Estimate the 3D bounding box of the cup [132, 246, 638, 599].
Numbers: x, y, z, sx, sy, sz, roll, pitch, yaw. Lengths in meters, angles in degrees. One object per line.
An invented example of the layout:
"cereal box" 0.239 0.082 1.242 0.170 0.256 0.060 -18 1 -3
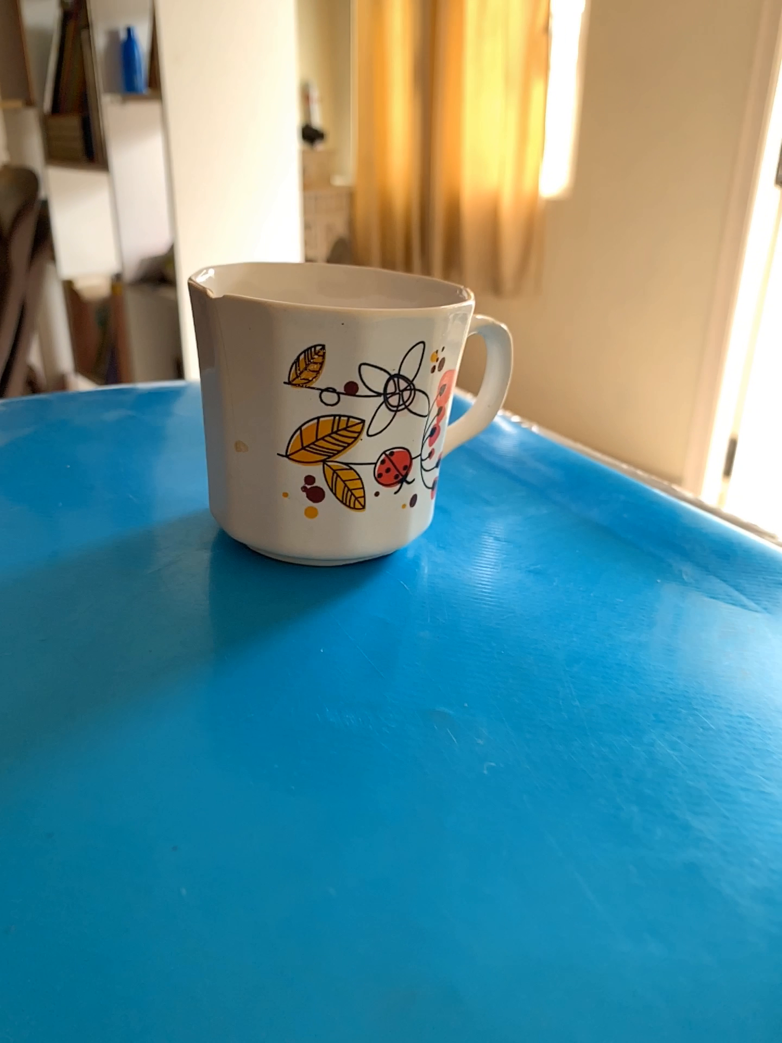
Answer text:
"cup" -0.006 -0.032 0.204 0.100 0.060 0.070 -8 26 -20
